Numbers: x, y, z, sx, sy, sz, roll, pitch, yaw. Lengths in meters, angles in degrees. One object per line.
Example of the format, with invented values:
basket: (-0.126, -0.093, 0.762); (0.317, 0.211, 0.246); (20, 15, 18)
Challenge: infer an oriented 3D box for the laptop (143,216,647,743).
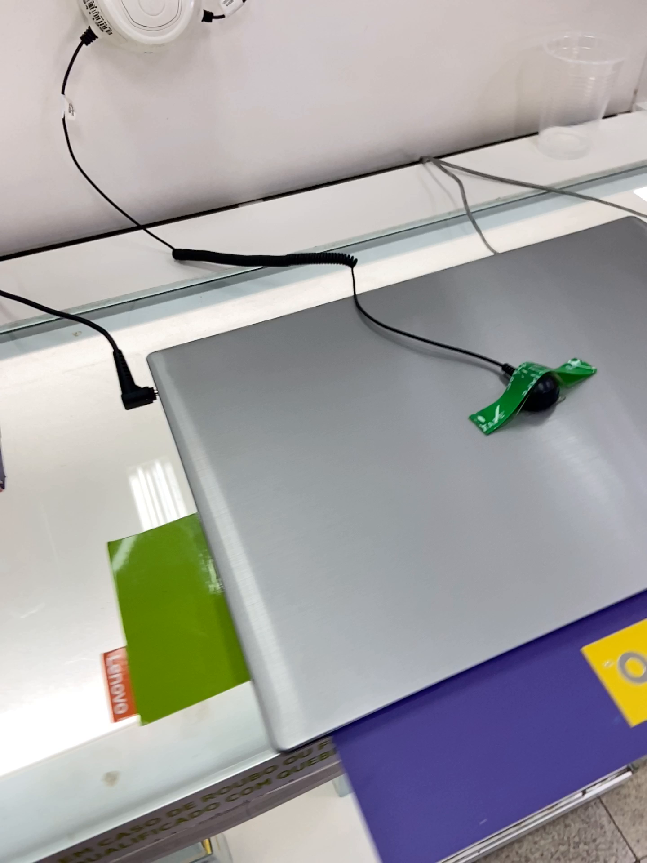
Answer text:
laptop: (0.104, -0.019, 0.373); (0.362, 0.001, 0.240); (-19, 51, -13)
